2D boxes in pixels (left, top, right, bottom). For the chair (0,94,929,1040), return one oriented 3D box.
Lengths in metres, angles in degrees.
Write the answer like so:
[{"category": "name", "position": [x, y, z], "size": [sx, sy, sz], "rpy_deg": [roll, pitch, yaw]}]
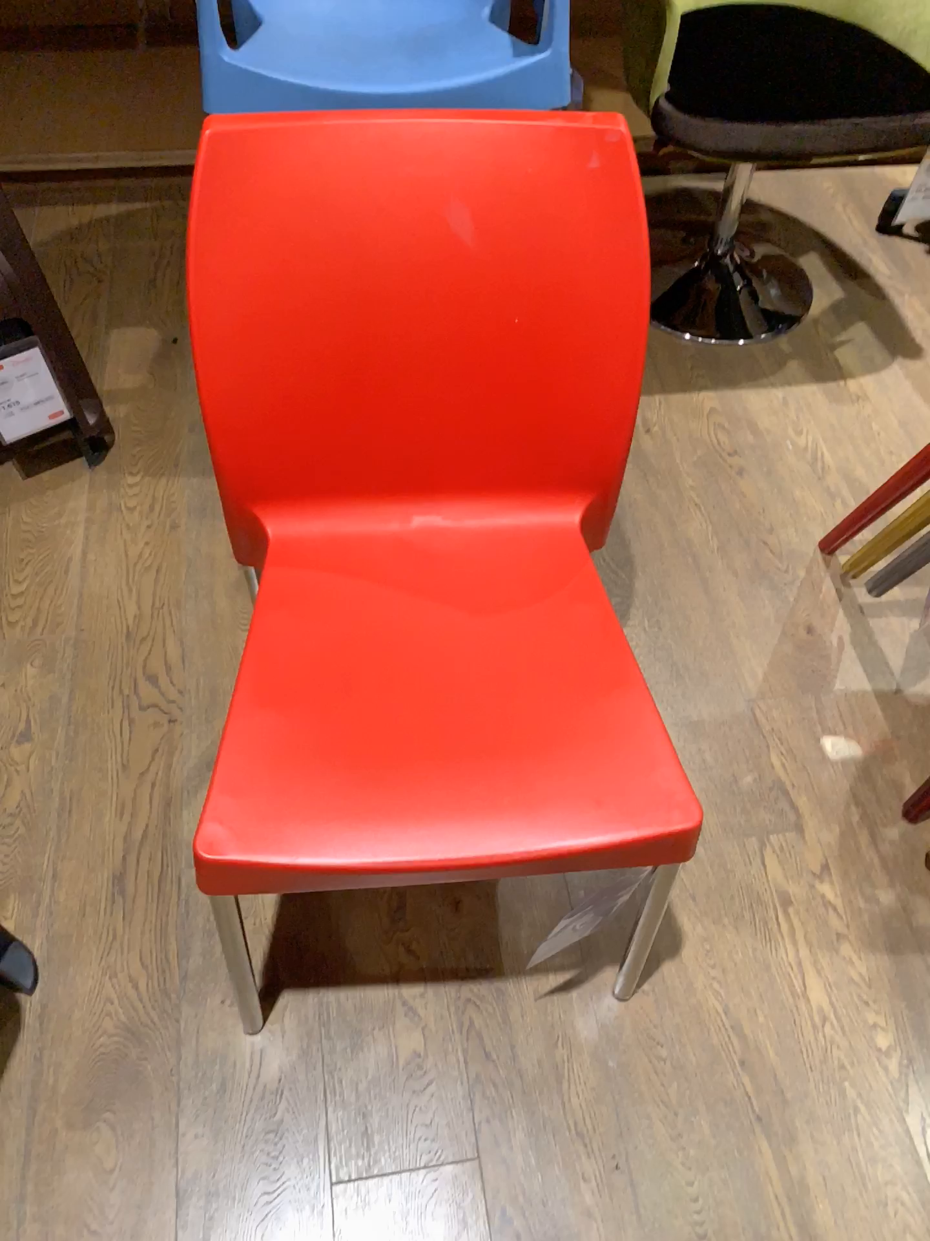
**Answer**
[{"category": "chair", "position": [-0.017, 0.003, 0.994], "size": [0.530, 0.778, 0.622], "rpy_deg": [-2, 54, -4]}]
